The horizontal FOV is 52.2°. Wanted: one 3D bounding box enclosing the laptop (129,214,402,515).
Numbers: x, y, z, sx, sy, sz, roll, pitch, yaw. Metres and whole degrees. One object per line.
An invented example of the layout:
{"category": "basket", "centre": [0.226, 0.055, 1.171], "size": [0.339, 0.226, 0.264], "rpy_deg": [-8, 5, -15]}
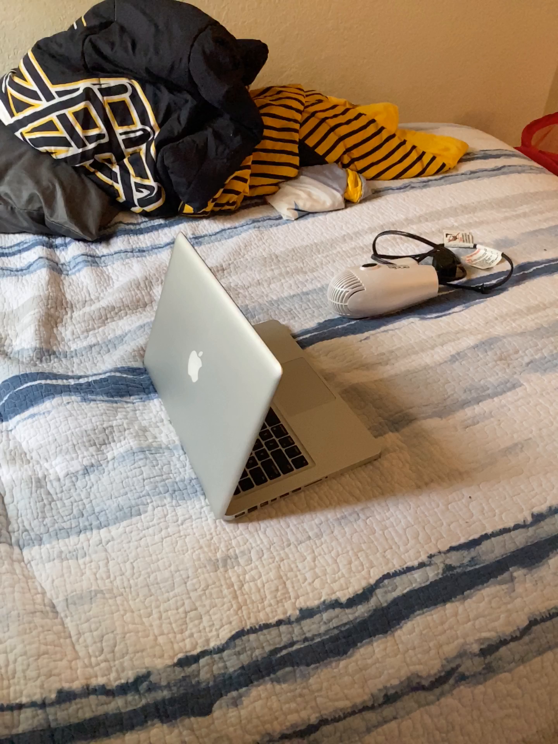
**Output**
{"category": "laptop", "centre": [-0.032, -0.027, 0.730], "size": [0.214, 0.188, 0.302], "rpy_deg": [-18, 45, -17]}
